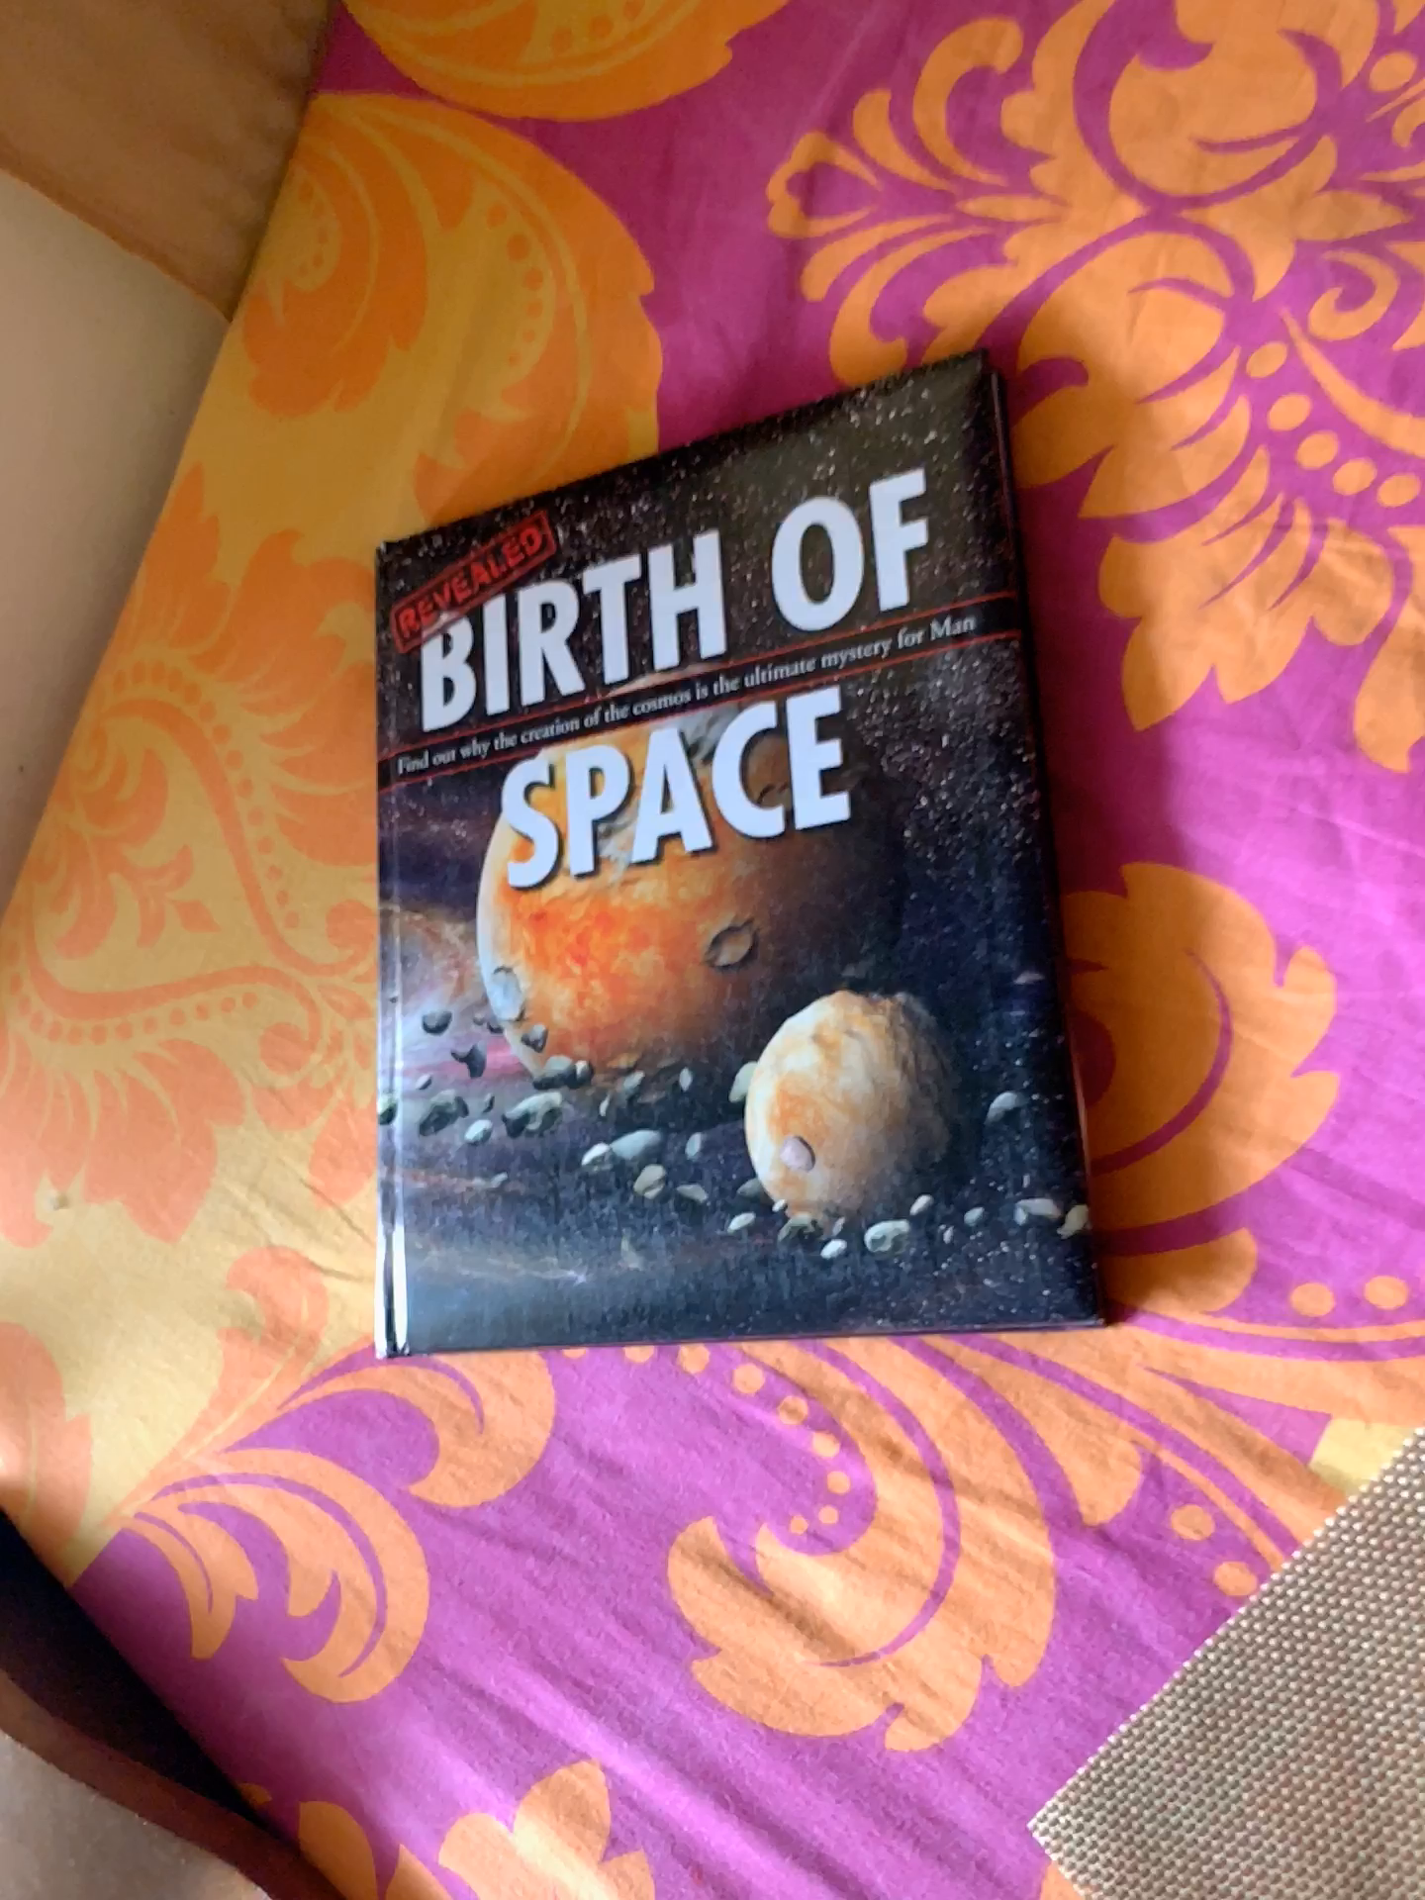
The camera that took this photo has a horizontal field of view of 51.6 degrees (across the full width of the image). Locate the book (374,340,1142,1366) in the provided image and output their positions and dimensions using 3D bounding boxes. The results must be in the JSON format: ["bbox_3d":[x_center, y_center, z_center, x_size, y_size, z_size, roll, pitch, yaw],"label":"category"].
[{"bbox_3d":[-0.004,-0.020,0.417,0.211,0.020,0.258,-10,76,25],"label":"book"}]
